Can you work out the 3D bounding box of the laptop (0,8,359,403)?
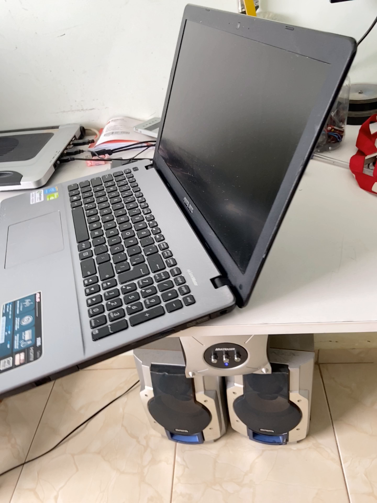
[{"bbox_3d":[-0.095,-0.109,0.447,0.356,0.213,0.378,-18,38,-9],"label":"laptop"}]
